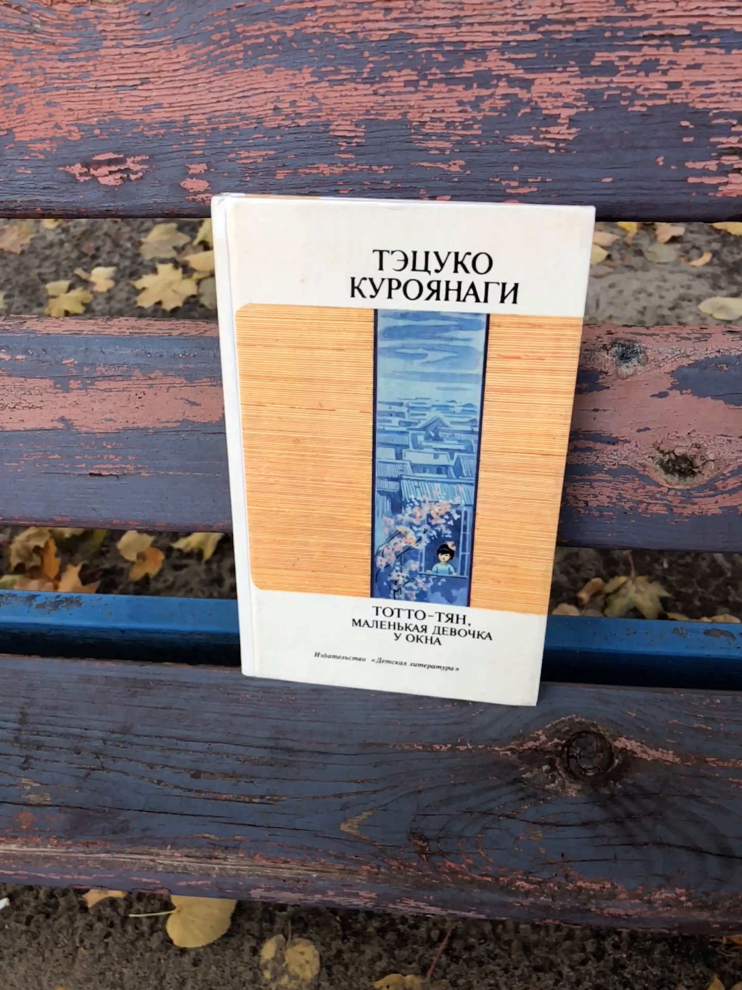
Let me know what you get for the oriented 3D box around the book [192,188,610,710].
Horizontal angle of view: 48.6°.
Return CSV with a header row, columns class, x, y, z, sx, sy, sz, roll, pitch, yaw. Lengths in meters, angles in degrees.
class,x,y,z,sx,sy,sz,roll,pitch,yaw
book,0.006,-0.008,0.312,0.134,0.198,0.016,4,26,4
